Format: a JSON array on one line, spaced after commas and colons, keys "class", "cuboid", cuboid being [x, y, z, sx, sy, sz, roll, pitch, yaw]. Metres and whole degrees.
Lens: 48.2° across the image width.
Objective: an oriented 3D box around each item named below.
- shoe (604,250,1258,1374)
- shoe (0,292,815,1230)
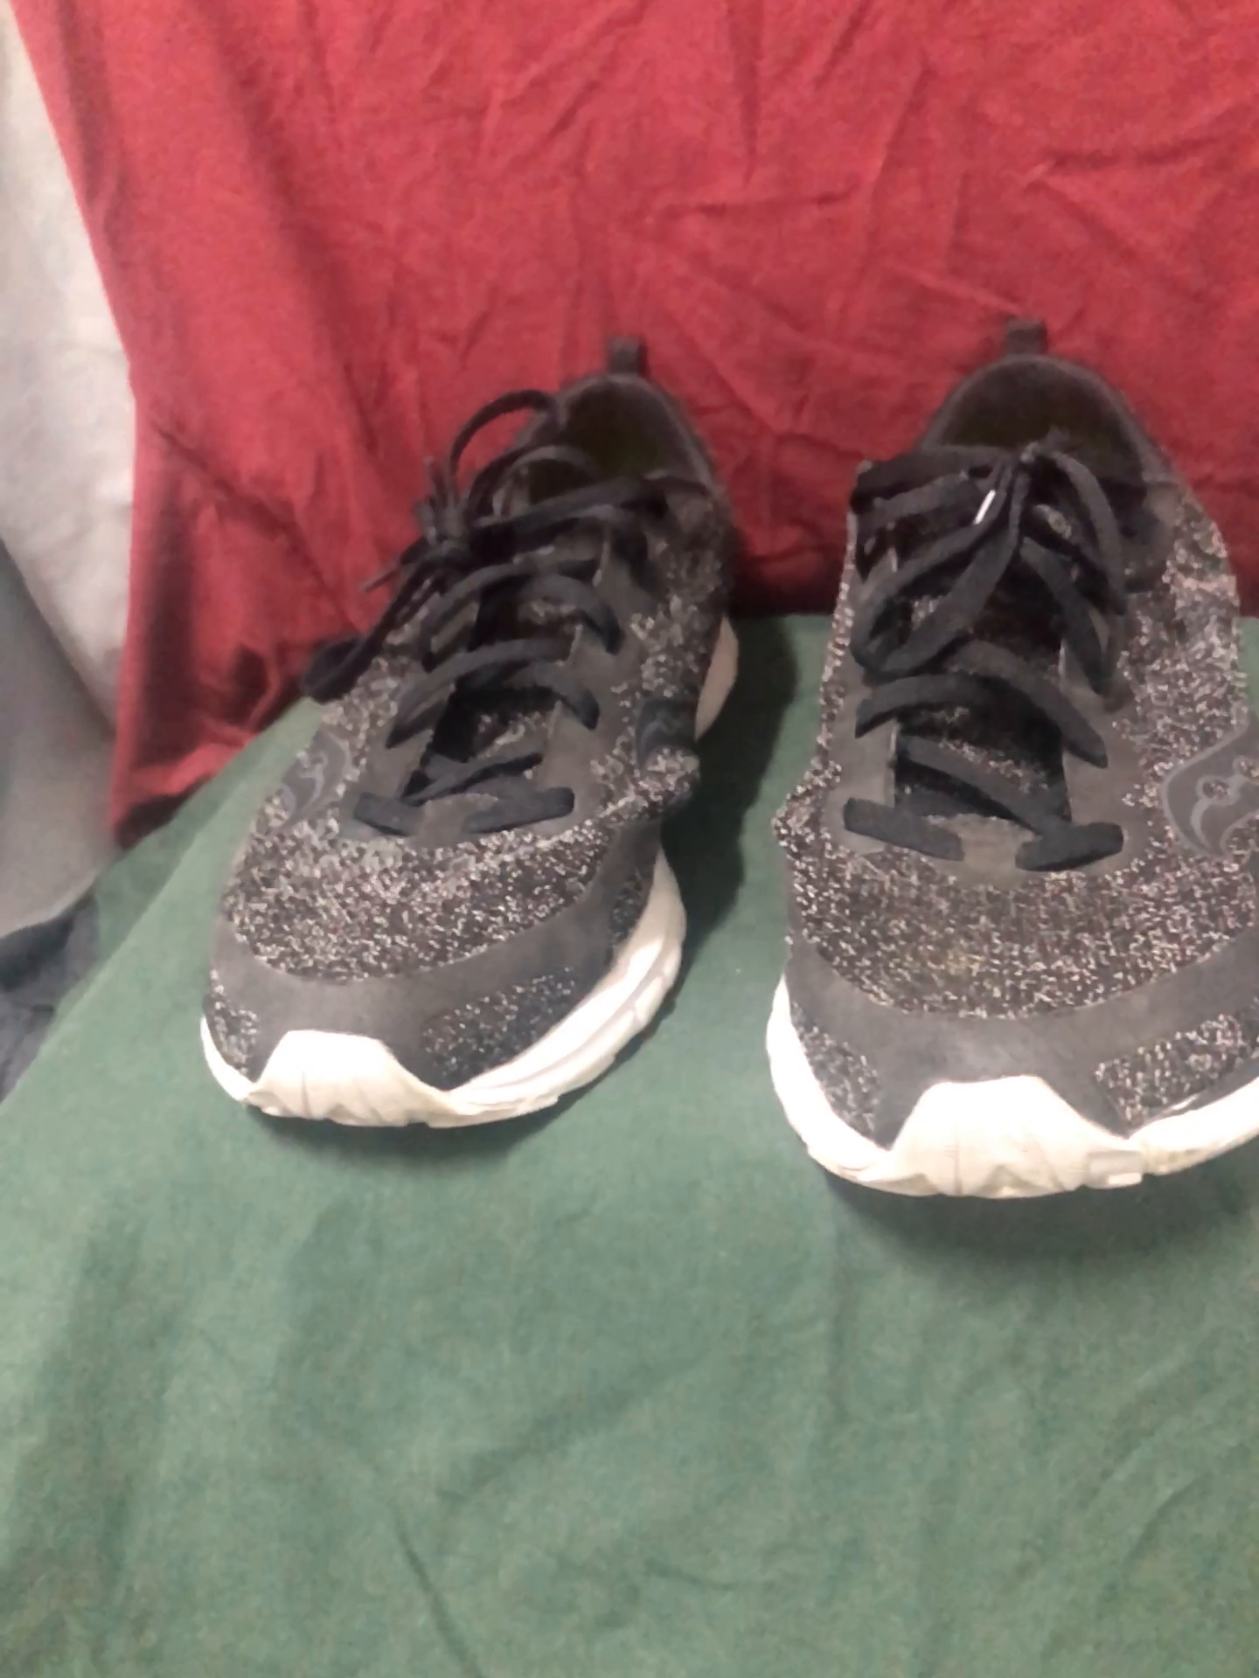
[{"class": "shoe", "cuboid": [0.096, -0.036, 0.305, 0.120, 0.099, 0.262, -1, 34, 18]}, {"class": "shoe", "cuboid": [-0.034, -0.045, 0.360, 0.120, 0.099, 0.272, -1, 34, 17]}]
